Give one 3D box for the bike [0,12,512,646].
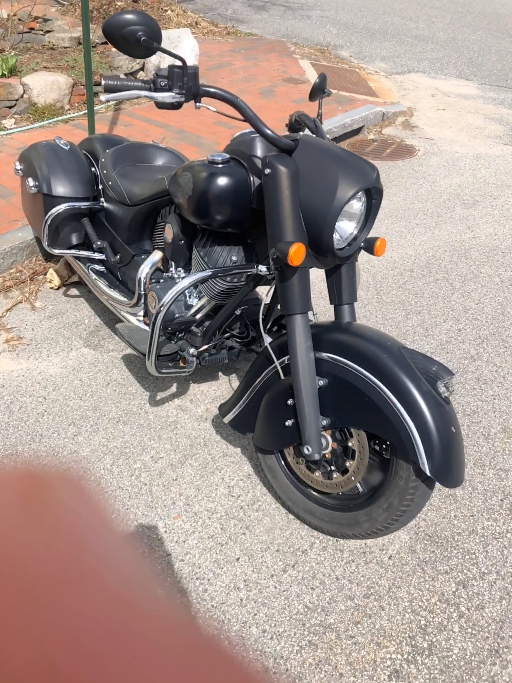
[{"bbox_3d":[-0.165,-0.336,1.988,0.783,1.237,2.134,-26,43,-28],"label":"bike"}]
